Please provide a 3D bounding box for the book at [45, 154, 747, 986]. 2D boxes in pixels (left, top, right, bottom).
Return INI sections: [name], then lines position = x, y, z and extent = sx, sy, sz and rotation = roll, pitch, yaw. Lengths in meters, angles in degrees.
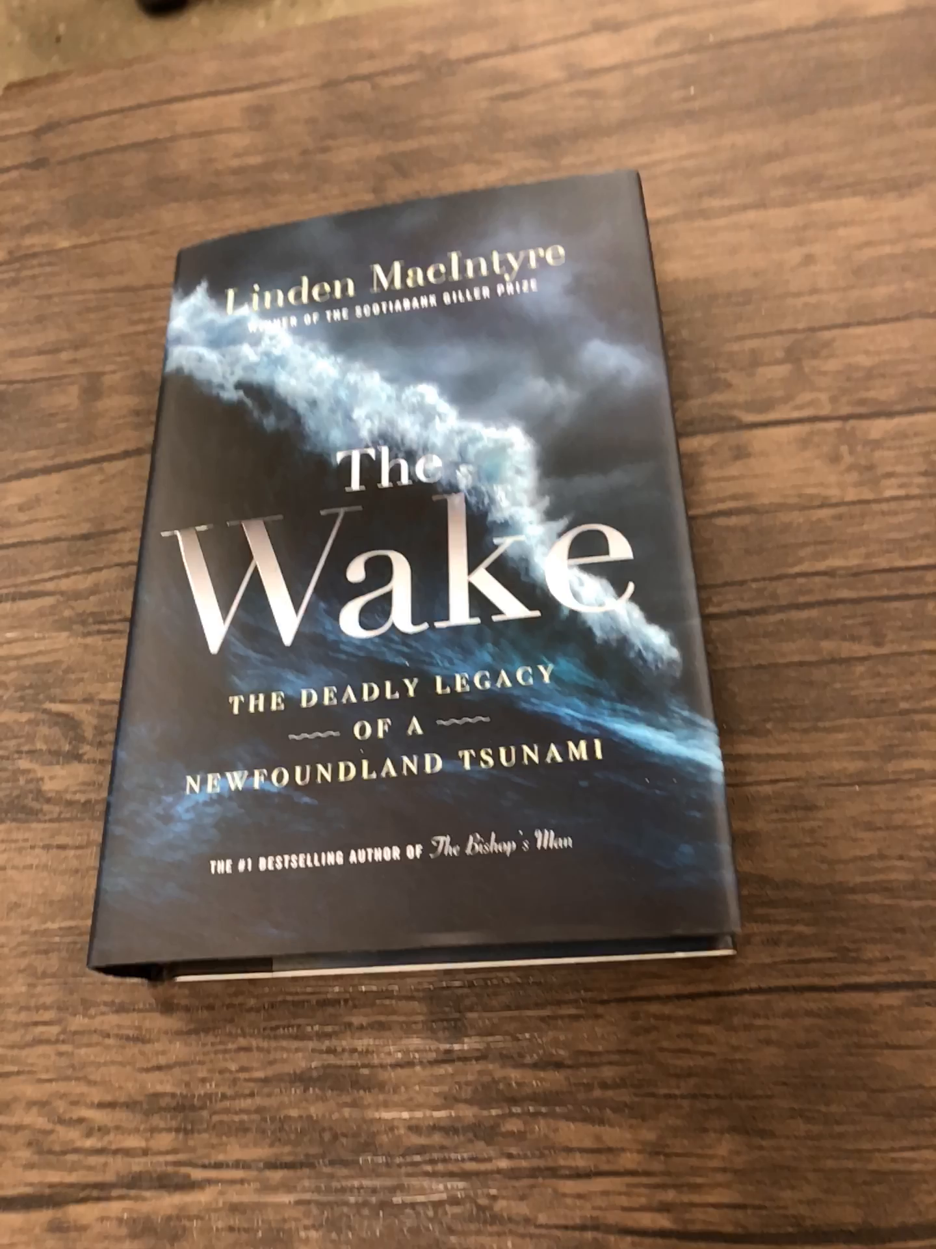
[book]
position = -0.018, -0.022, 0.304
extent = 0.160, 0.050, 0.230
rotation = -5, 64, 9
